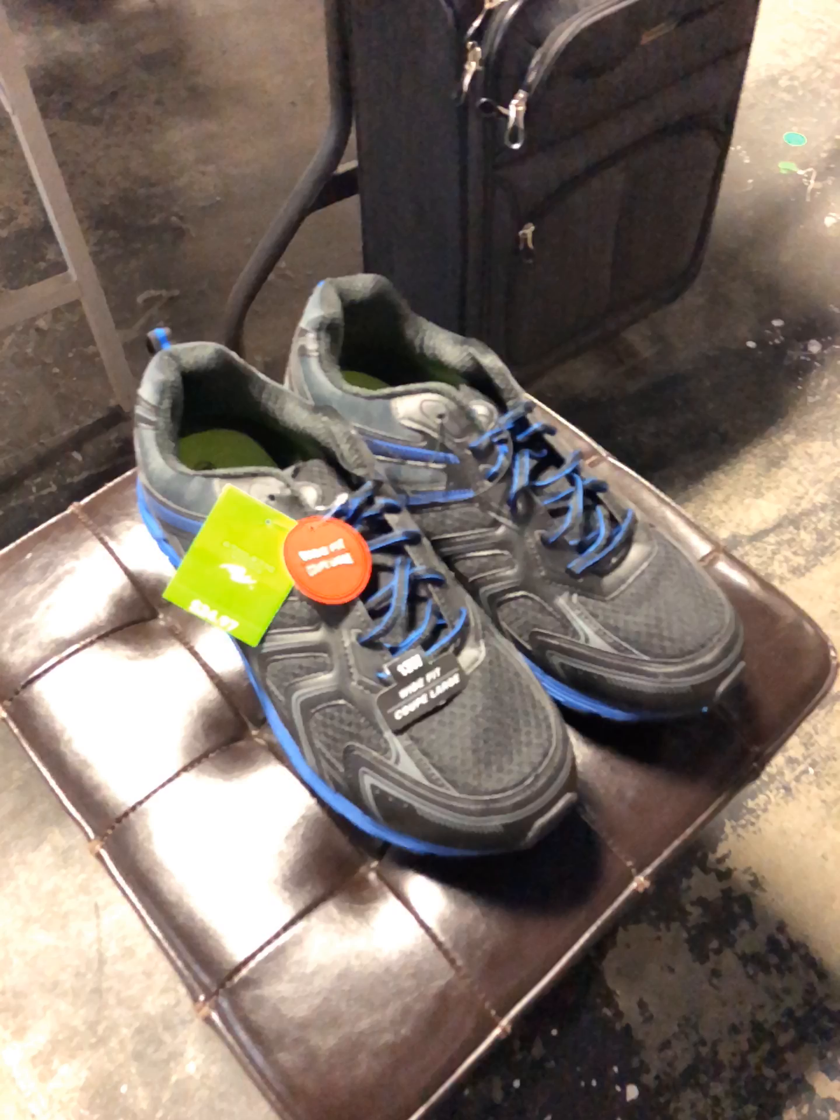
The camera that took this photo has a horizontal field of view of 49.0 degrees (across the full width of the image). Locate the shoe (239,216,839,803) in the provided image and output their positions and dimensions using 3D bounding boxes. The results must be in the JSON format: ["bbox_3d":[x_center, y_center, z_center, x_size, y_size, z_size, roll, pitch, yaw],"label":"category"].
[{"bbox_3d":[0.058,-0.042,0.492,0.130,0.099,0.311,-38,65,-24],"label":"shoe"}]

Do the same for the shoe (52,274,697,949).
[{"bbox_3d":[-0.033,0.012,0.430,0.120,0.119,0.281,-33,63,-22],"label":"shoe"}]
